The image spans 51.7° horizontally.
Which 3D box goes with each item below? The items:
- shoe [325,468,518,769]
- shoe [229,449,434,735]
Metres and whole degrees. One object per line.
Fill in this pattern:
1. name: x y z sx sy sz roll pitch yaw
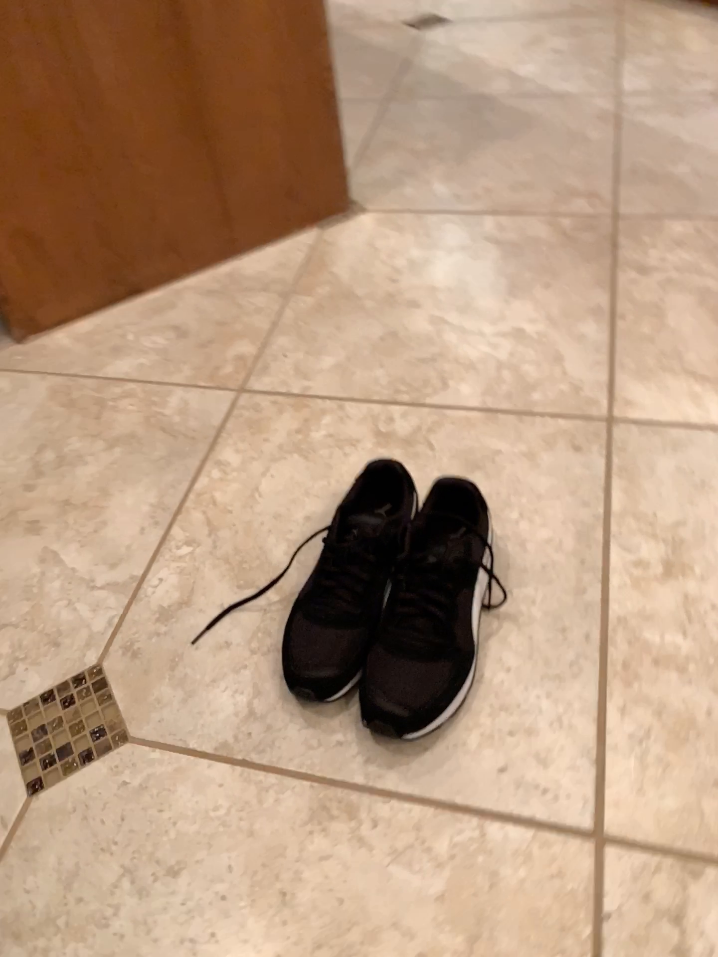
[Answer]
1. shoe: 0.074 0.126 0.736 0.108 0.095 0.269 10 50 20
2. shoe: -0.015 0.106 0.769 0.108 0.095 0.269 11 50 18
